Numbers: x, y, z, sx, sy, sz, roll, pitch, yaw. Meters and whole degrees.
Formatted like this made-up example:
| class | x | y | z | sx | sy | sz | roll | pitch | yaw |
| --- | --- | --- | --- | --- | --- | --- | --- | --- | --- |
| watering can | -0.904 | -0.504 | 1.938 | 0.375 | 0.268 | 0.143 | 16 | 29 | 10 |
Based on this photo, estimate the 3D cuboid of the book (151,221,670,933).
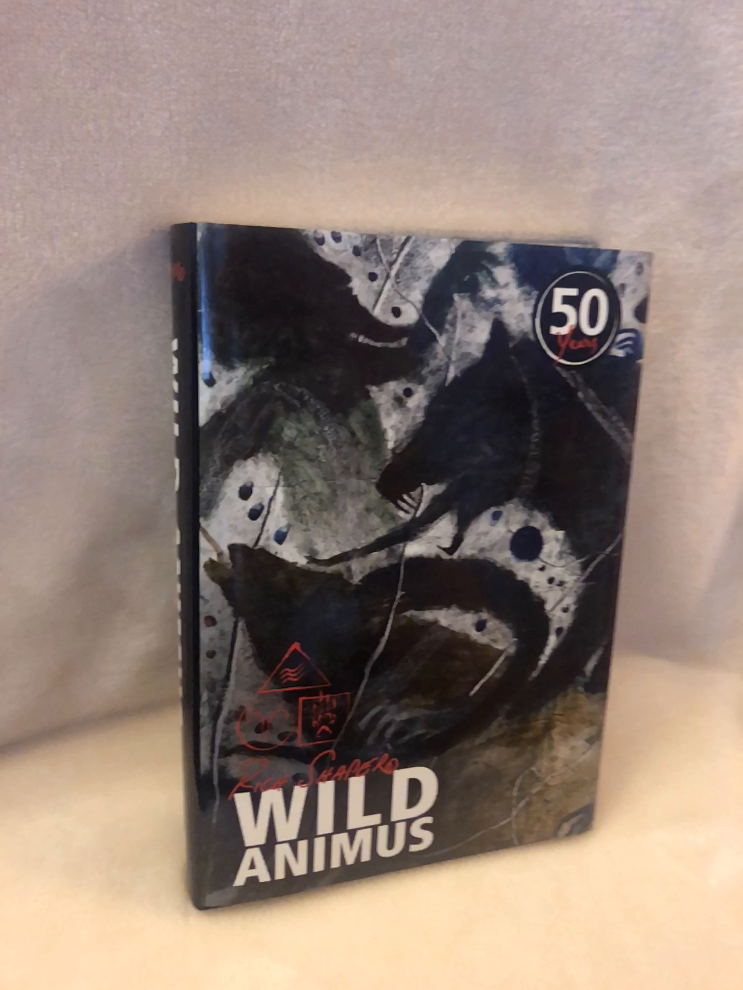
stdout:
| class | x | y | z | sx | sy | sz | roll | pitch | yaw |
| --- | --- | --- | --- | --- | --- | --- | --- | --- | --- |
| book | 0.013 | 0.024 | 0.289 | 0.163 | 0.216 | 0.043 | -3 | 12 | -19 |
